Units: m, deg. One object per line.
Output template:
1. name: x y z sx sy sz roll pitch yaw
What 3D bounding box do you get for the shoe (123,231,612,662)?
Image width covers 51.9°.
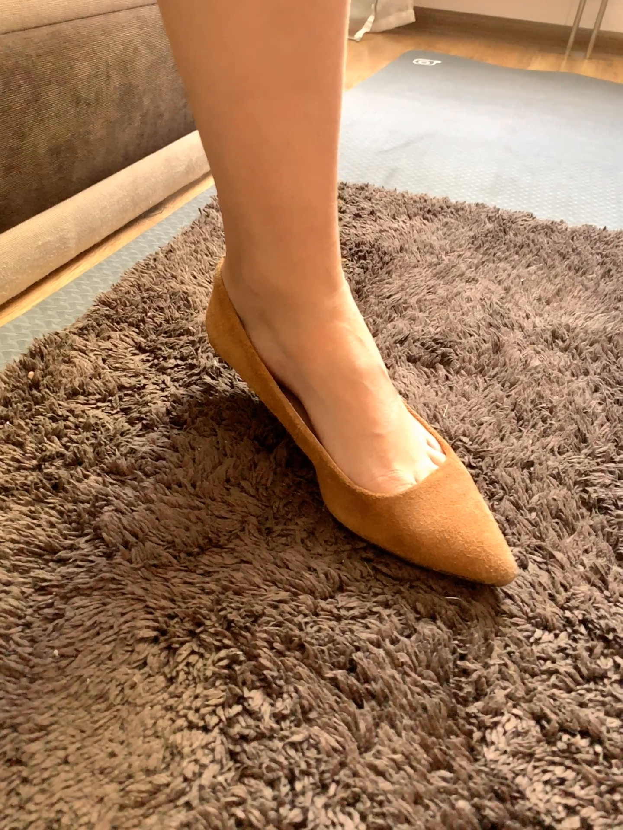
1. shoe: 0.008 -0.007 0.341 0.090 0.080 0.251 -27 49 -34
